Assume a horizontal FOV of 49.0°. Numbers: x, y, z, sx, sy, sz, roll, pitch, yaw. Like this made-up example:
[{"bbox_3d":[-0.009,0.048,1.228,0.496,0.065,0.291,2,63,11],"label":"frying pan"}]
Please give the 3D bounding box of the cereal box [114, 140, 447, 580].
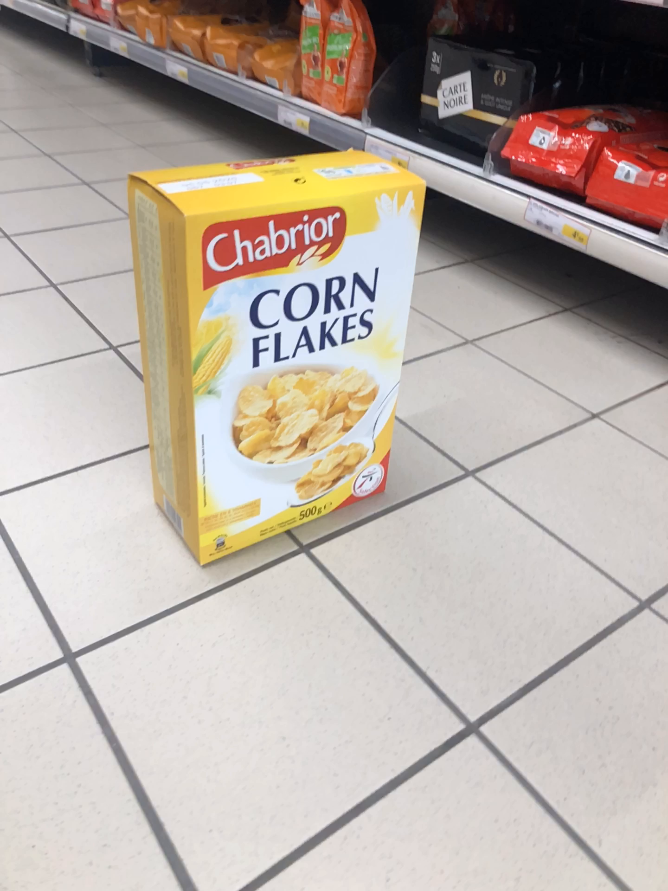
[{"bbox_3d":[-0.045,-0.071,0.611,0.211,0.308,0.110,-19,41,-30],"label":"cereal box"}]
